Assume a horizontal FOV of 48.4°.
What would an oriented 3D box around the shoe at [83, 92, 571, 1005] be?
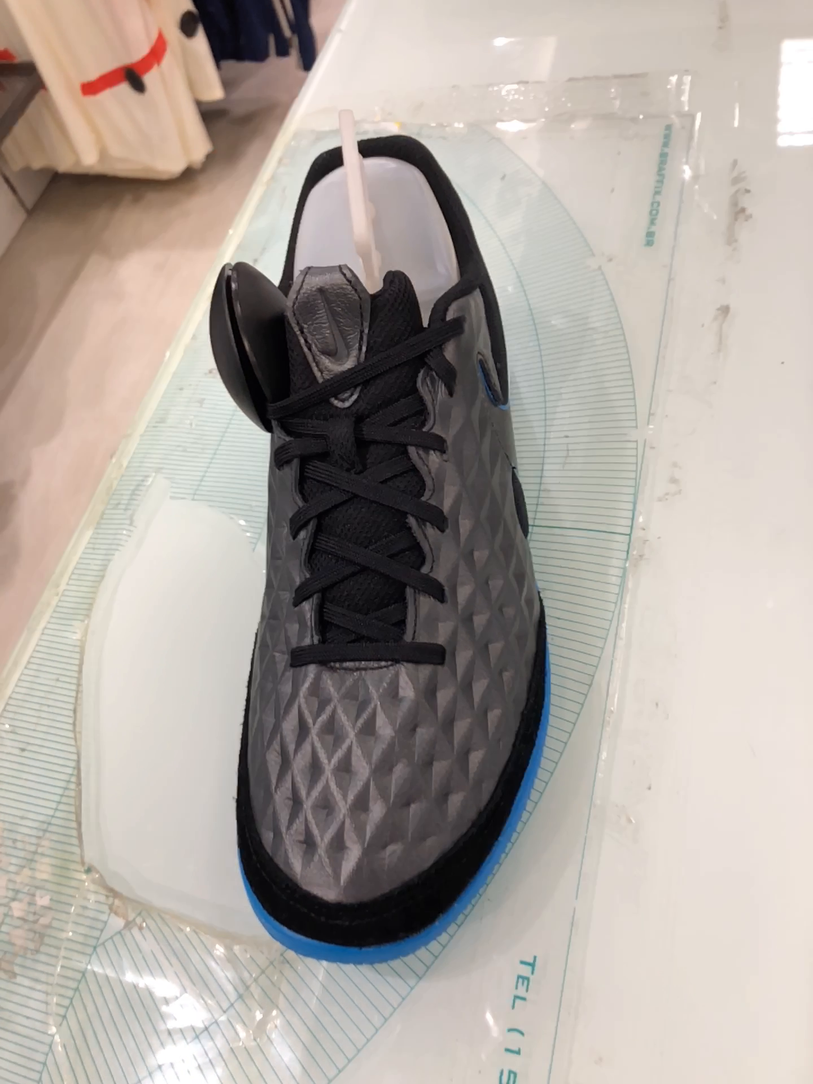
[{"bbox_3d":[0.000,-0.015,0.307,0.100,0.099,0.291,-3,57,12],"label":"shoe"}]
